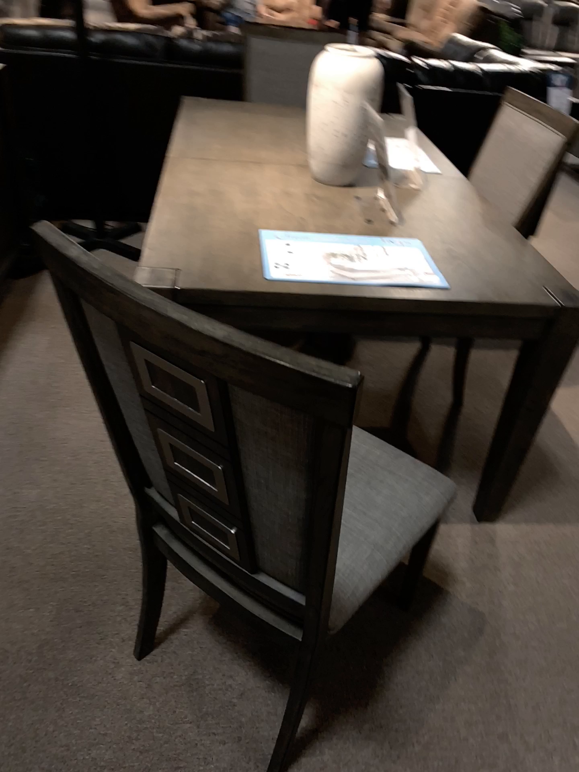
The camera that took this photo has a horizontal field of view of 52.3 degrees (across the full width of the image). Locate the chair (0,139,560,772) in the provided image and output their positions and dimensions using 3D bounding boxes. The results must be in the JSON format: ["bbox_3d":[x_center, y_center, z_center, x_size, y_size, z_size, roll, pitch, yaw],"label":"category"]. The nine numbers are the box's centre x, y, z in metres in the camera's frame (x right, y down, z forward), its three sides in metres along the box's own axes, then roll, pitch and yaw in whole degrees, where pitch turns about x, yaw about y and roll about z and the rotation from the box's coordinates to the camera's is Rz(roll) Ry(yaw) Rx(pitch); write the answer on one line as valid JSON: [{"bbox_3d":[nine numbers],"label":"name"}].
[{"bbox_3d":[-0.012,0.165,1.114,0.514,0.997,0.645,26,40,25],"label":"chair"}]
